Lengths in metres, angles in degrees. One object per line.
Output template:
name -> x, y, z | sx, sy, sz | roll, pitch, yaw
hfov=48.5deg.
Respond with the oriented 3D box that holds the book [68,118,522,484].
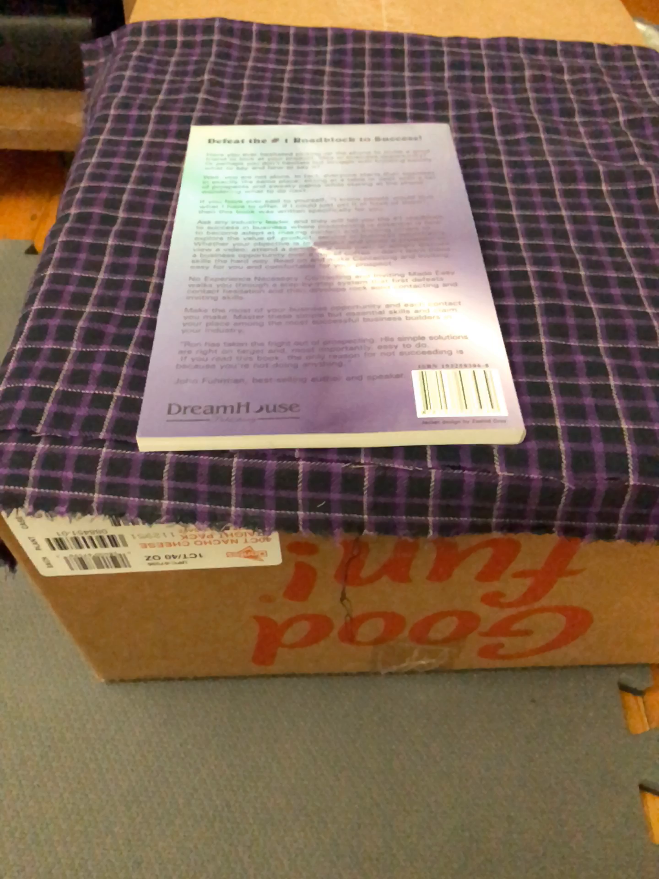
book -> -0.015, -0.079, 0.334 | 0.160, 0.020, 0.221 | -1, 52, -1
